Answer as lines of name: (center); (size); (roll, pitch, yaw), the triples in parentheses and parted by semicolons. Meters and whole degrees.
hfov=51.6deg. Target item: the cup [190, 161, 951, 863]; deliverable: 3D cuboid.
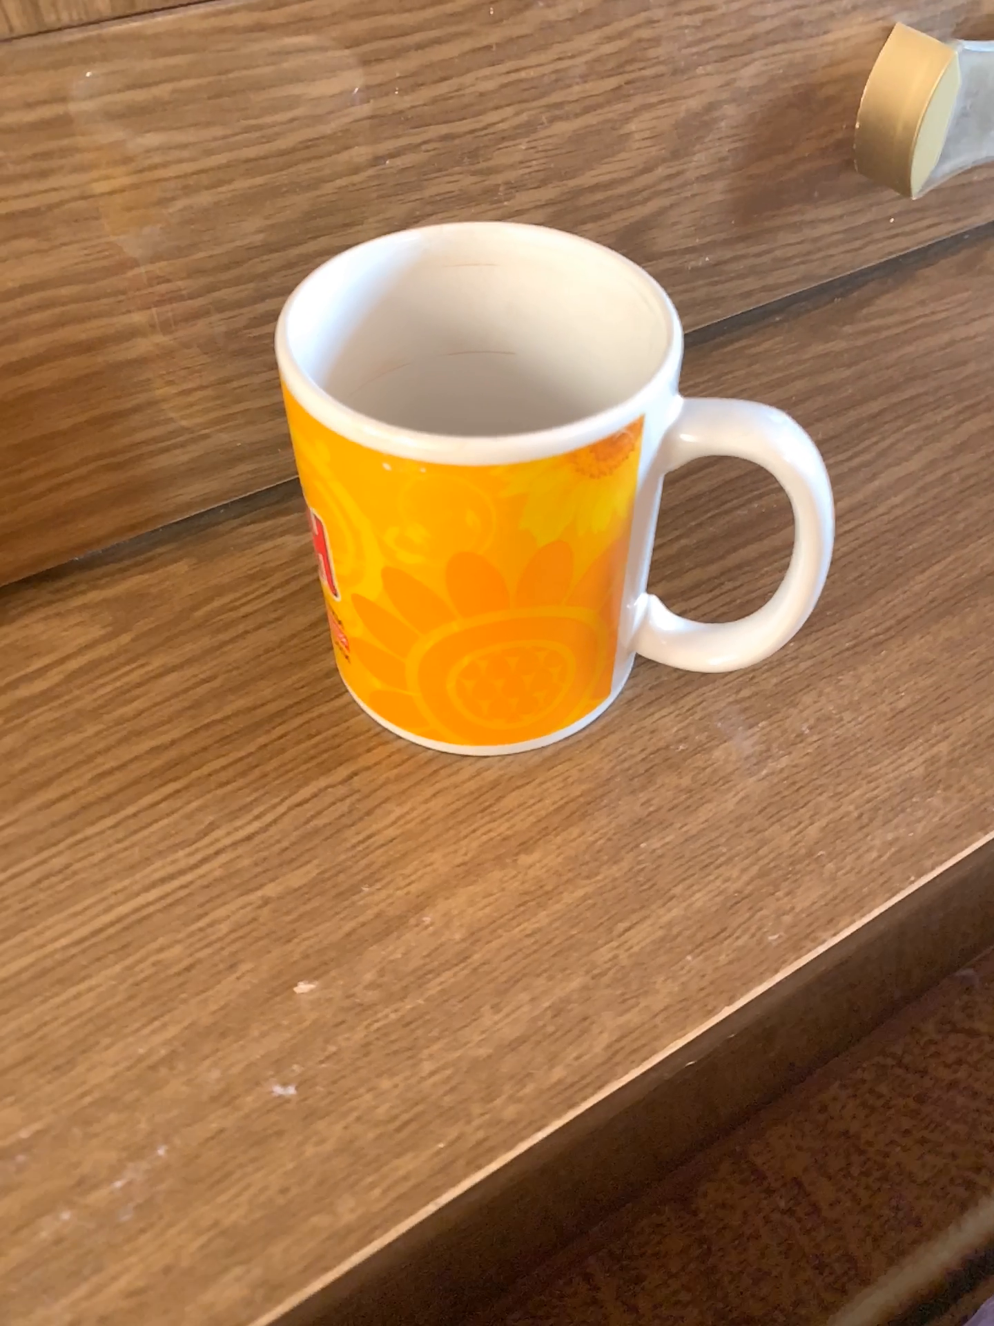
cup: (0.019, -0.035, 0.230); (0.123, 0.097, 0.091); (14, 51, 11)
